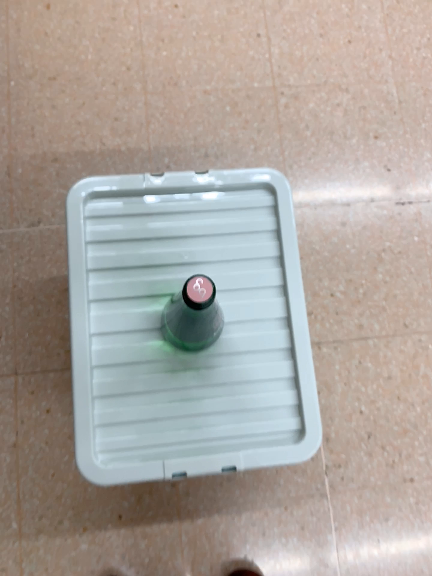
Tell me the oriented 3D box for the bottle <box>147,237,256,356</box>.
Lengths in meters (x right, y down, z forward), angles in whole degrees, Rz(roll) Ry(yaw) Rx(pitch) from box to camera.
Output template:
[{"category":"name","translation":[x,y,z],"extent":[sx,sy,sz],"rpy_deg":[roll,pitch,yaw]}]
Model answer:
[{"category":"bottle","translation":[-0.024,0.027,0.525],"extent":[0.085,0.289,0.090],"rpy_deg":[1,80,-5]}]
